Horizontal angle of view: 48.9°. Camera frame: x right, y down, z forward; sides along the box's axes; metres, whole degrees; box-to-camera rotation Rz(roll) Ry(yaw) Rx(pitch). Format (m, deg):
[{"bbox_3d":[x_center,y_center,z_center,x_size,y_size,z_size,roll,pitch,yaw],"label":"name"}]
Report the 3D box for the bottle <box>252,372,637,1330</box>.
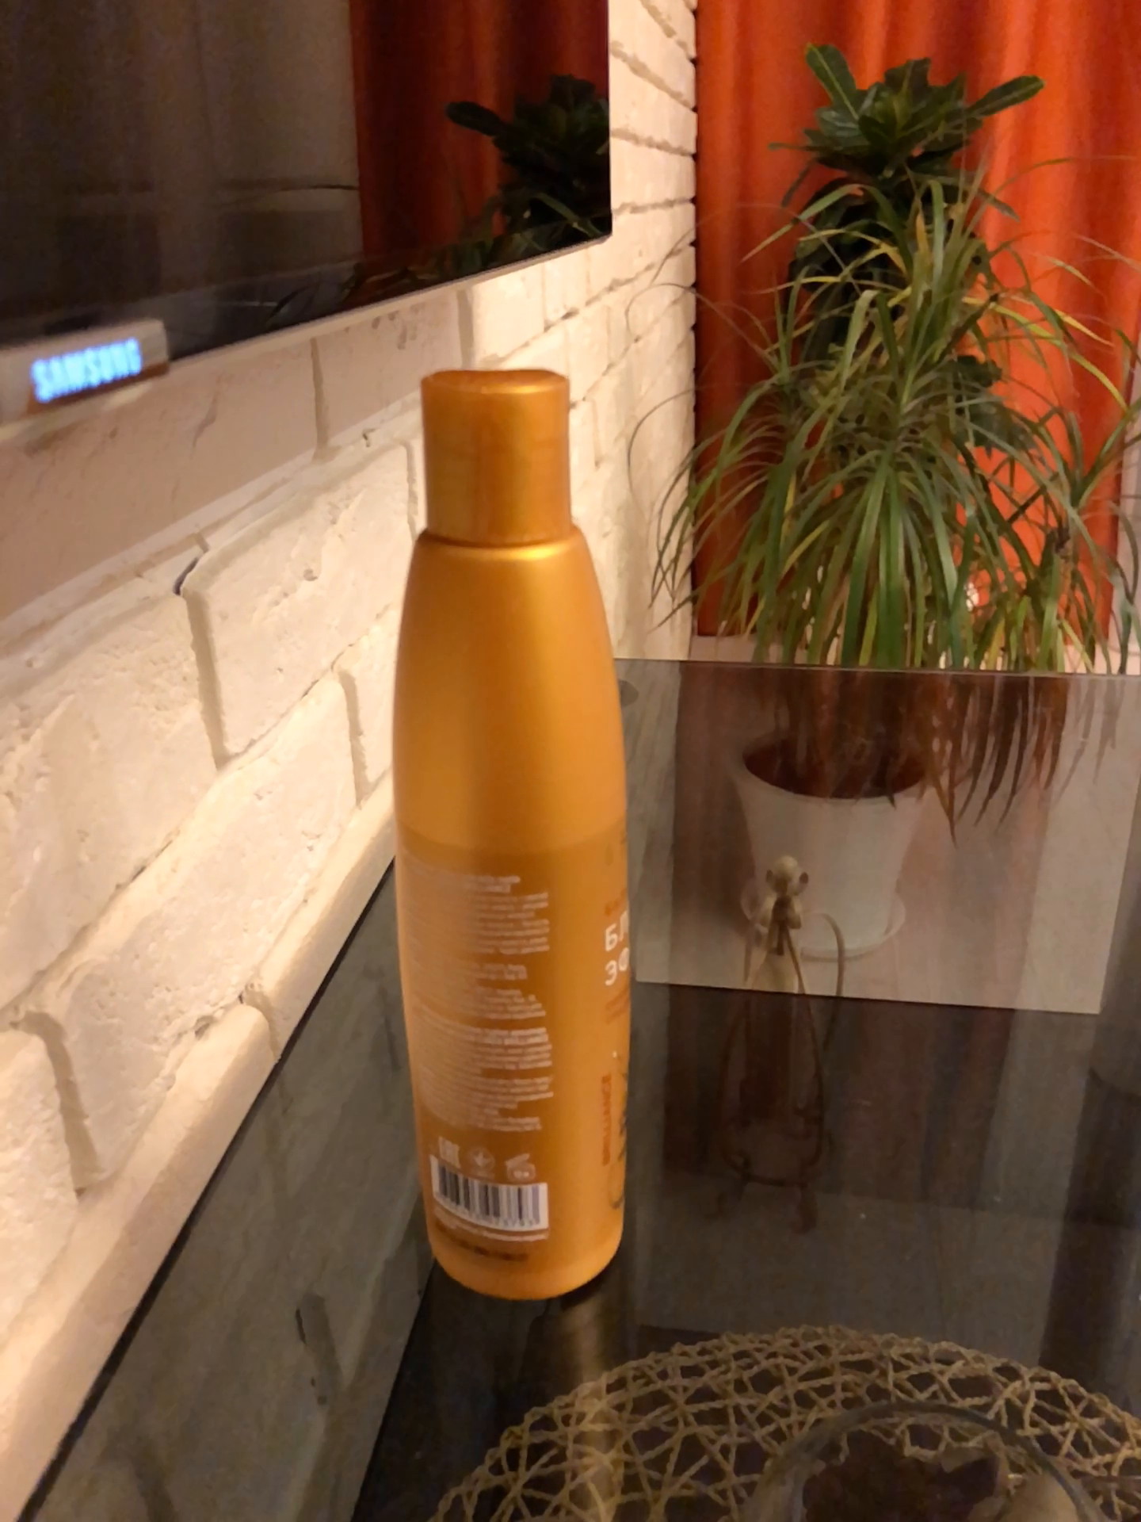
[{"bbox_3d":[-0.017,0.025,0.265,0.060,0.199,0.050,0,23,4],"label":"bottle"}]
